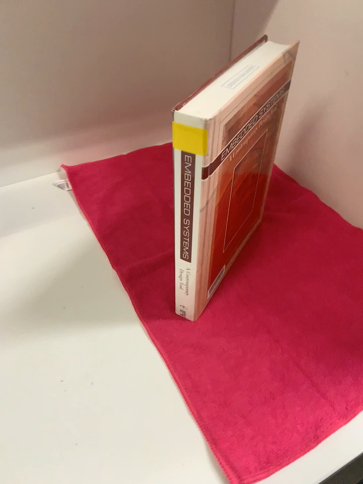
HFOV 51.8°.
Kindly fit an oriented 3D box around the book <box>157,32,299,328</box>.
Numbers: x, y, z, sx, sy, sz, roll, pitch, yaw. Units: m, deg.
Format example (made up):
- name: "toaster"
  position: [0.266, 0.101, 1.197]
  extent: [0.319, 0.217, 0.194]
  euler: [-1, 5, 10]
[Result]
- name: "book"
  position: [0.053, -0.064, 0.422]
  extent: [0.044, 0.257, 0.213]
  euler: [21, 48, 20]
